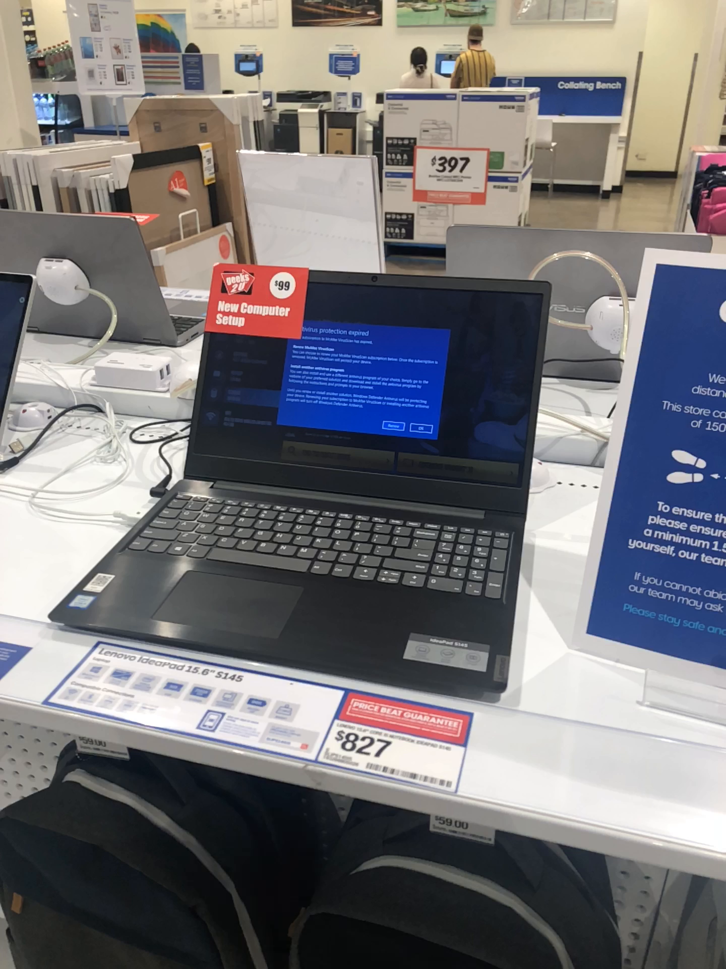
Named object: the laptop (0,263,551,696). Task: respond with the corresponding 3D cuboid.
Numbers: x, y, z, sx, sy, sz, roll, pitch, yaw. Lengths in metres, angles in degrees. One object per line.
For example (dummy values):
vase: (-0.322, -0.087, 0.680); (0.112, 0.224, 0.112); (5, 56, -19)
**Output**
laptop: (-0.033, -0.046, 0.699); (0.353, 0.192, 0.370); (6, 29, 13)
